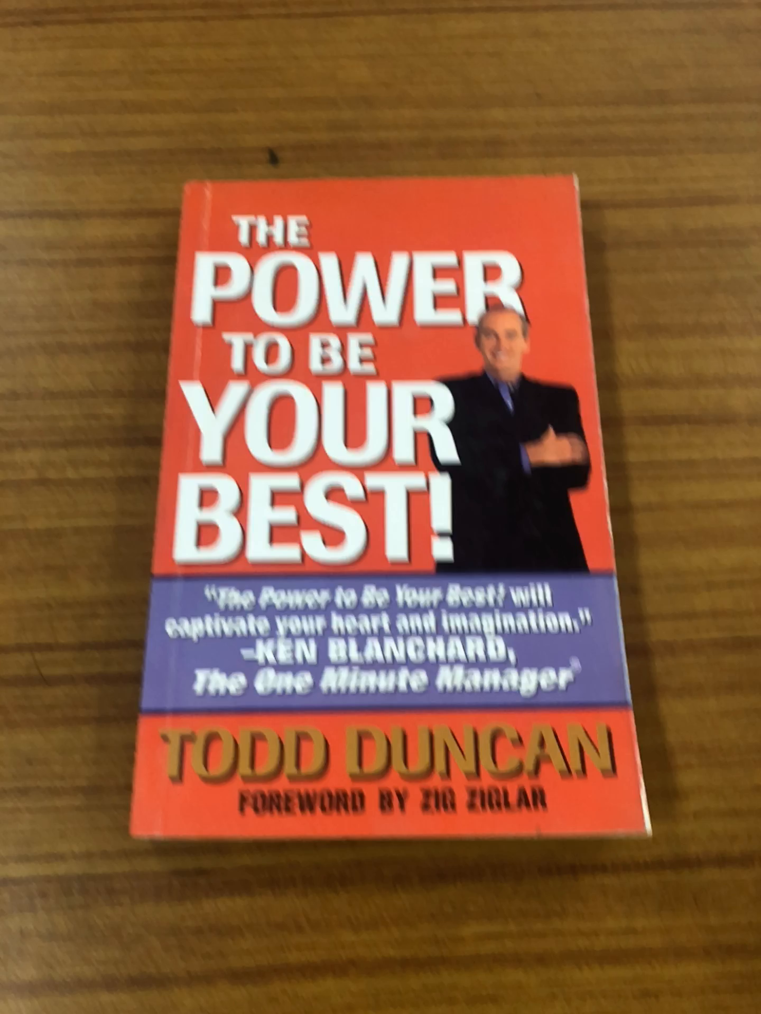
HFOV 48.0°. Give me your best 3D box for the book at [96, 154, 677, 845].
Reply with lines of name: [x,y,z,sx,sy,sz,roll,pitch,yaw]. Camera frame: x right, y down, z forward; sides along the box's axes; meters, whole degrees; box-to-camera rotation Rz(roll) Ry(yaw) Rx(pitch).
book: [0.001,-0.012,0.271,0.150,0.030,0.220,0,71,0]
